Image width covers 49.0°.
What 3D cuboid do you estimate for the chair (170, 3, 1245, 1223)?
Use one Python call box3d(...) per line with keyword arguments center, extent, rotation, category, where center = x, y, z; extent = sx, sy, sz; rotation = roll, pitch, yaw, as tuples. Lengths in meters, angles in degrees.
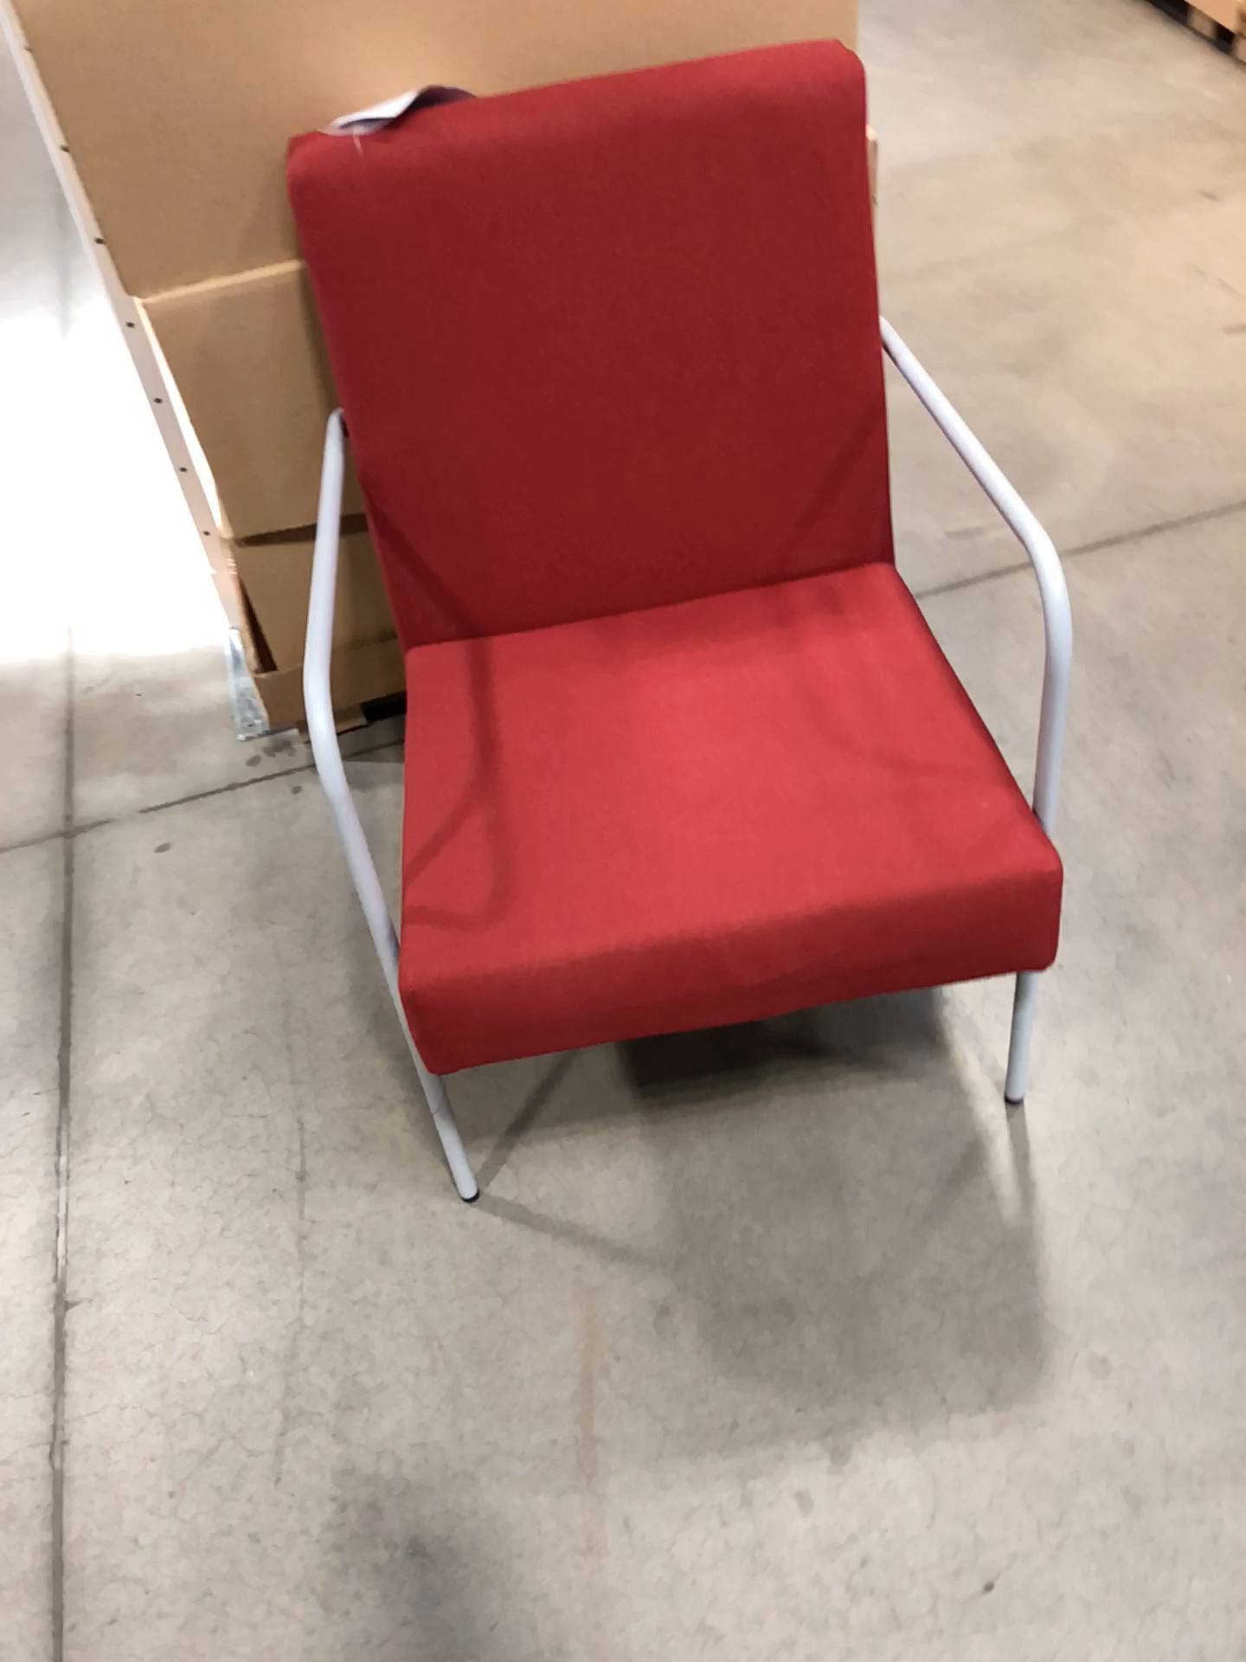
box3d(center=(0.044, -0.197, 1.278), extent=(0.630, 0.707, 0.763), rotation=(-10, 49, 0), category="chair")
